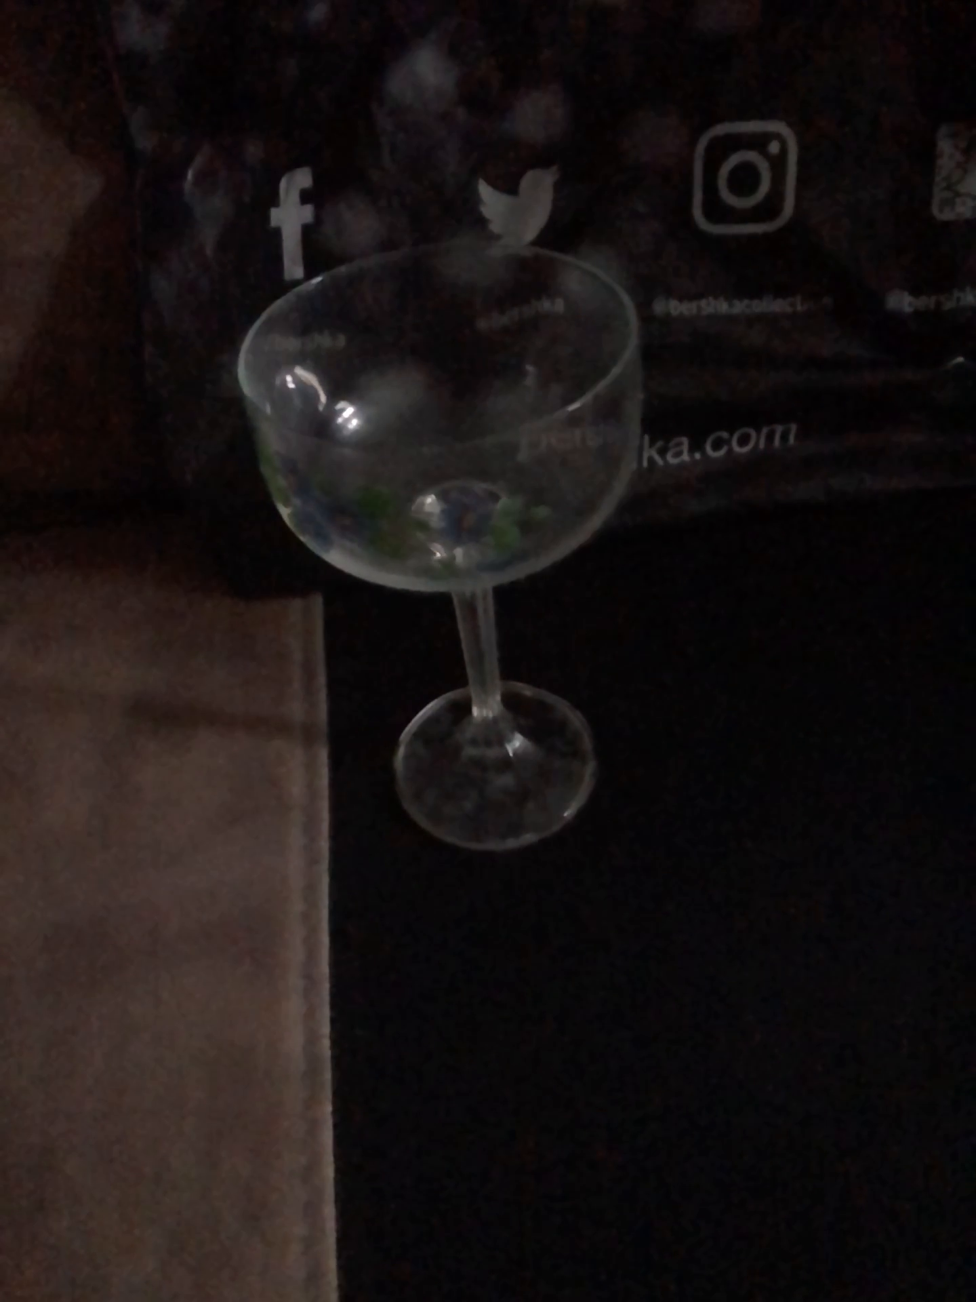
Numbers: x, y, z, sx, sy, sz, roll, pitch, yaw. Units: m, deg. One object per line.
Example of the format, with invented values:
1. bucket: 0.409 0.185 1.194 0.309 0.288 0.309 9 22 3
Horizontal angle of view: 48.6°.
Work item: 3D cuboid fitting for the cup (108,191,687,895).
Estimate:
1. cup: -0.012 -0.024 0.285 0.096 0.147 0.085 16 51 17
